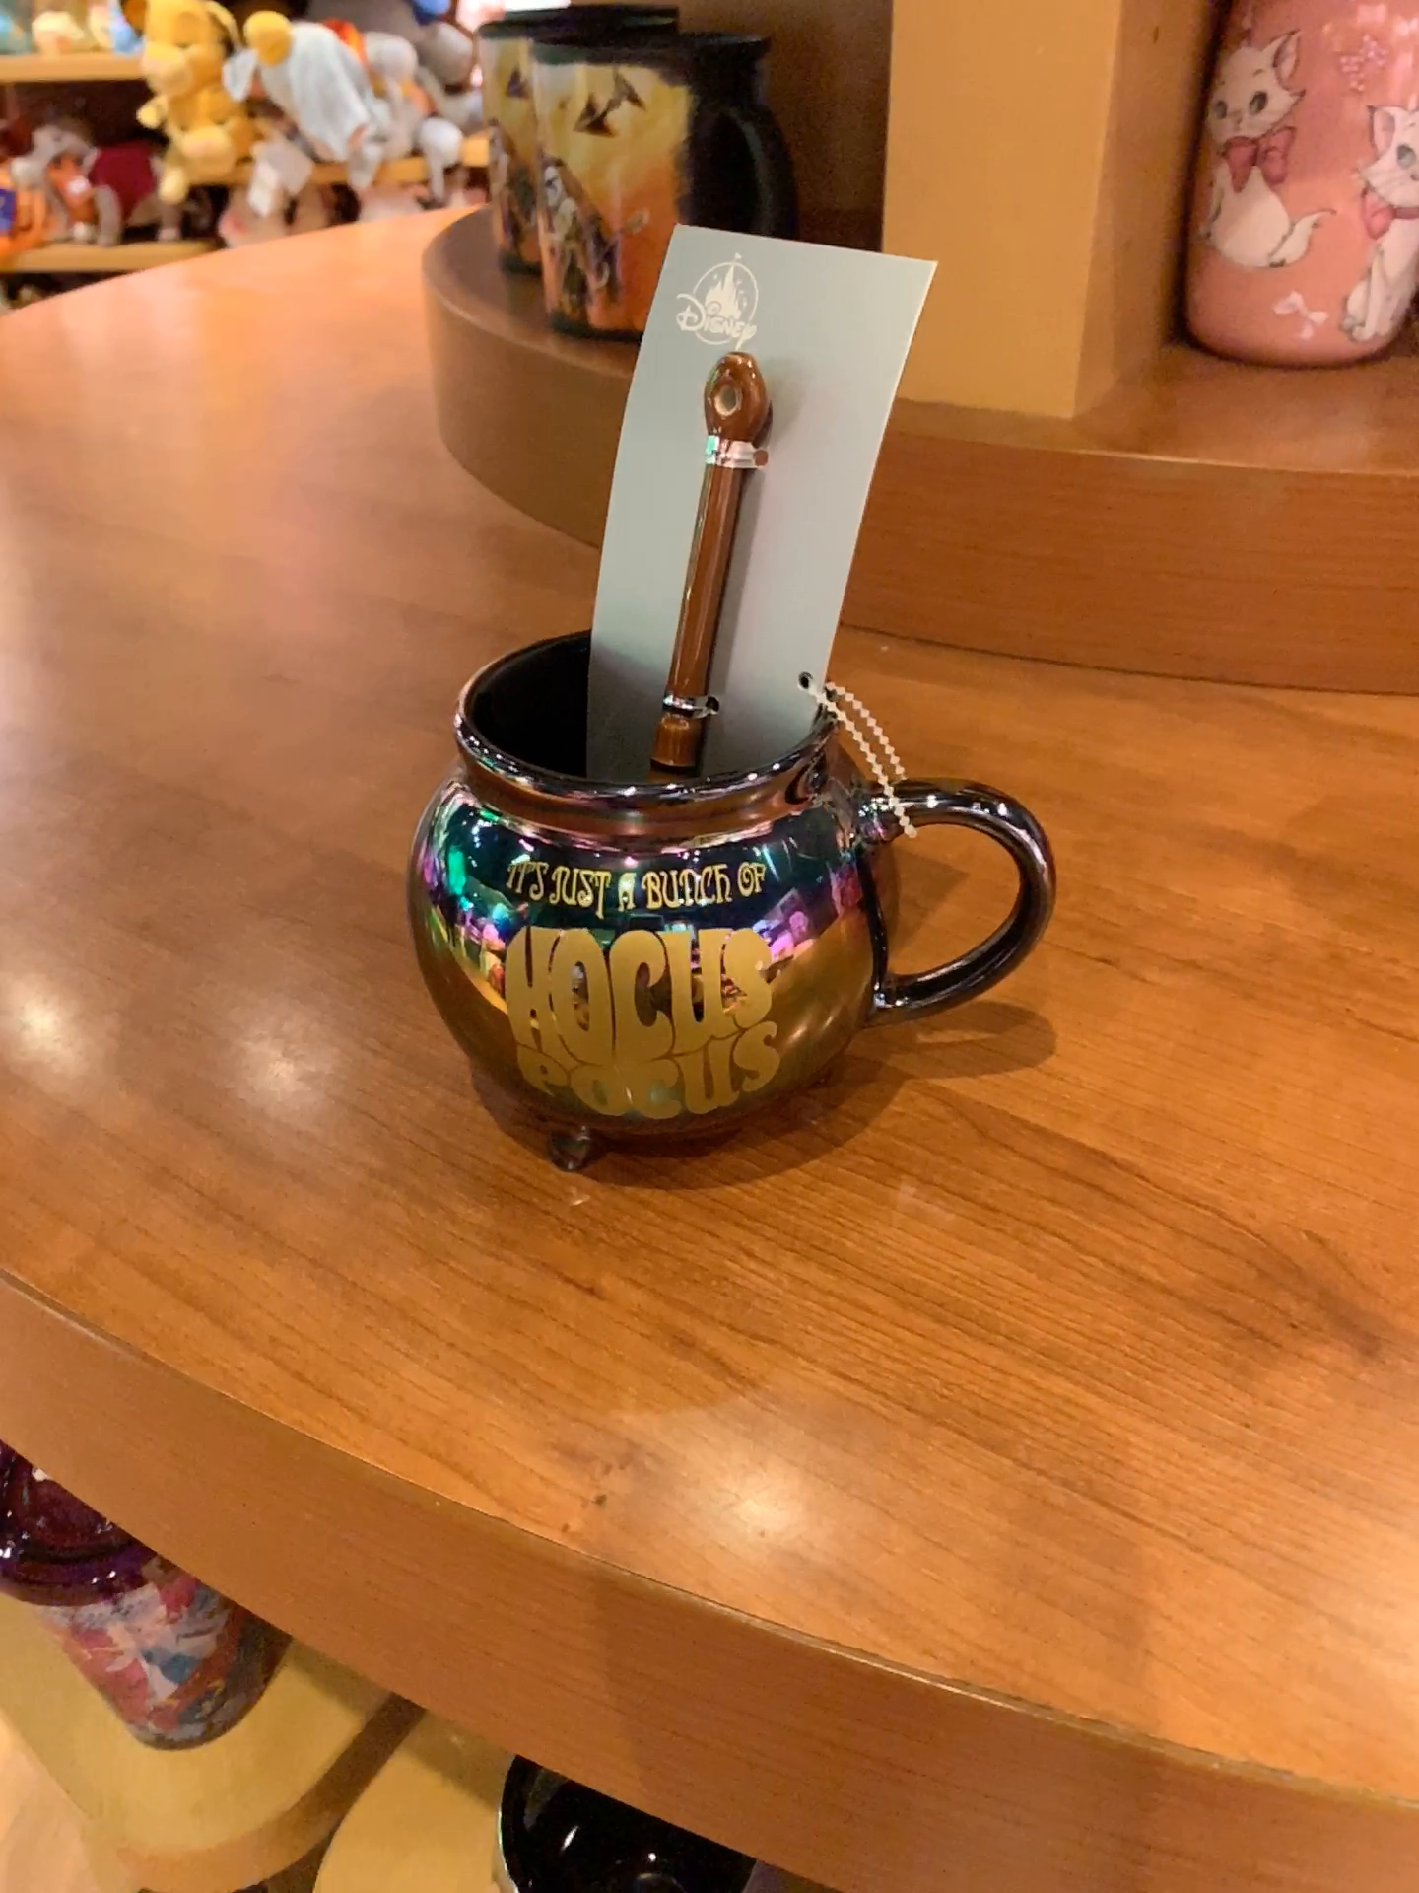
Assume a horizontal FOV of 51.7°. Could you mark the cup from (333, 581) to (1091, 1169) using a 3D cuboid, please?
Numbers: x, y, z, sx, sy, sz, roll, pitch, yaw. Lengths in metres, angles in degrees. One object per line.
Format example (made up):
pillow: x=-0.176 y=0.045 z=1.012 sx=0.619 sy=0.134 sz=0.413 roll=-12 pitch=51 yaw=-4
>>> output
cup: x=0.004 y=-0.020 z=0.328 sx=0.136 sy=0.089 sz=0.101 roll=1 pitch=35 yaw=4
